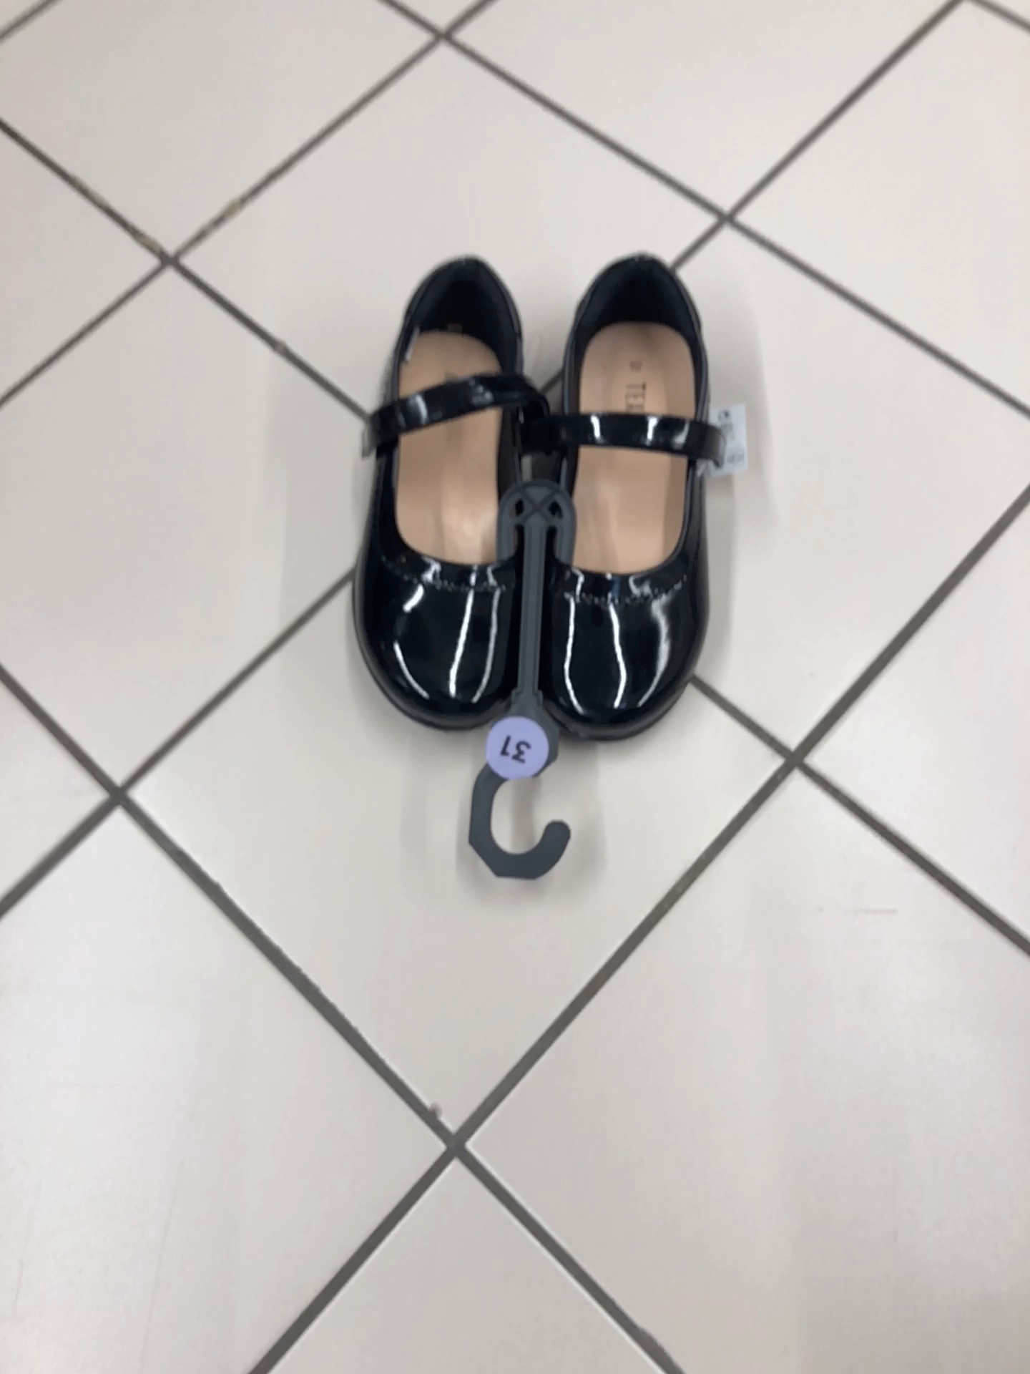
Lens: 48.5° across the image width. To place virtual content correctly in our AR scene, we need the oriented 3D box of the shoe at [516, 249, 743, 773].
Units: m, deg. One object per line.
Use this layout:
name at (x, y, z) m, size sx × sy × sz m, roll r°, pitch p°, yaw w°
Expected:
shoe at (0.049, -0.075, 0.463) m, size 0.079 × 0.052 × 0.211 m, roll 2°, pitch 69°, yaw 5°

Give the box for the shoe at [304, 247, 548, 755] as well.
shoe at (-0.030, -0.079, 0.469) m, size 0.079 × 0.056 × 0.205 m, roll 1°, pitch 69°, yaw 5°
